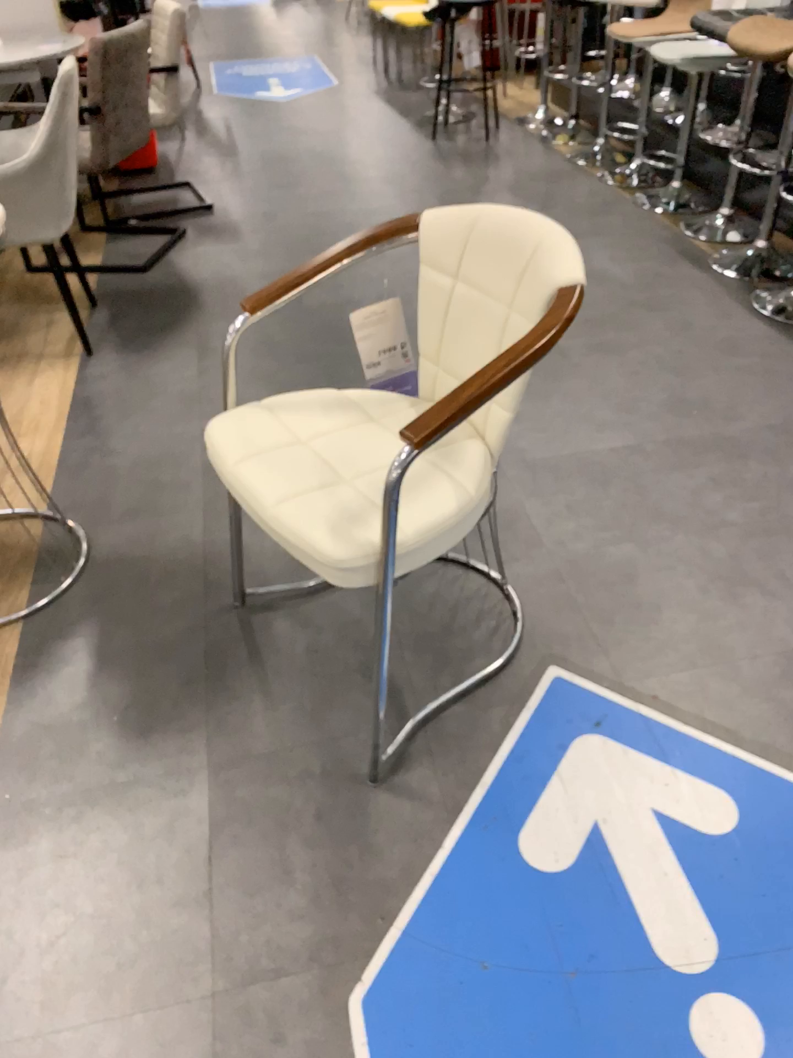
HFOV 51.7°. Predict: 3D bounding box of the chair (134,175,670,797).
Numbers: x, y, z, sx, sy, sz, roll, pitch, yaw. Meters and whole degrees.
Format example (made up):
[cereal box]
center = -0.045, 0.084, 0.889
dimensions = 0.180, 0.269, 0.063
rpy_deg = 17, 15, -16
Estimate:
[chair]
center = 0.001, -0.111, 1.520
dimensions = 0.601, 0.815, 0.602
rpy_deg = -24, 42, -25
